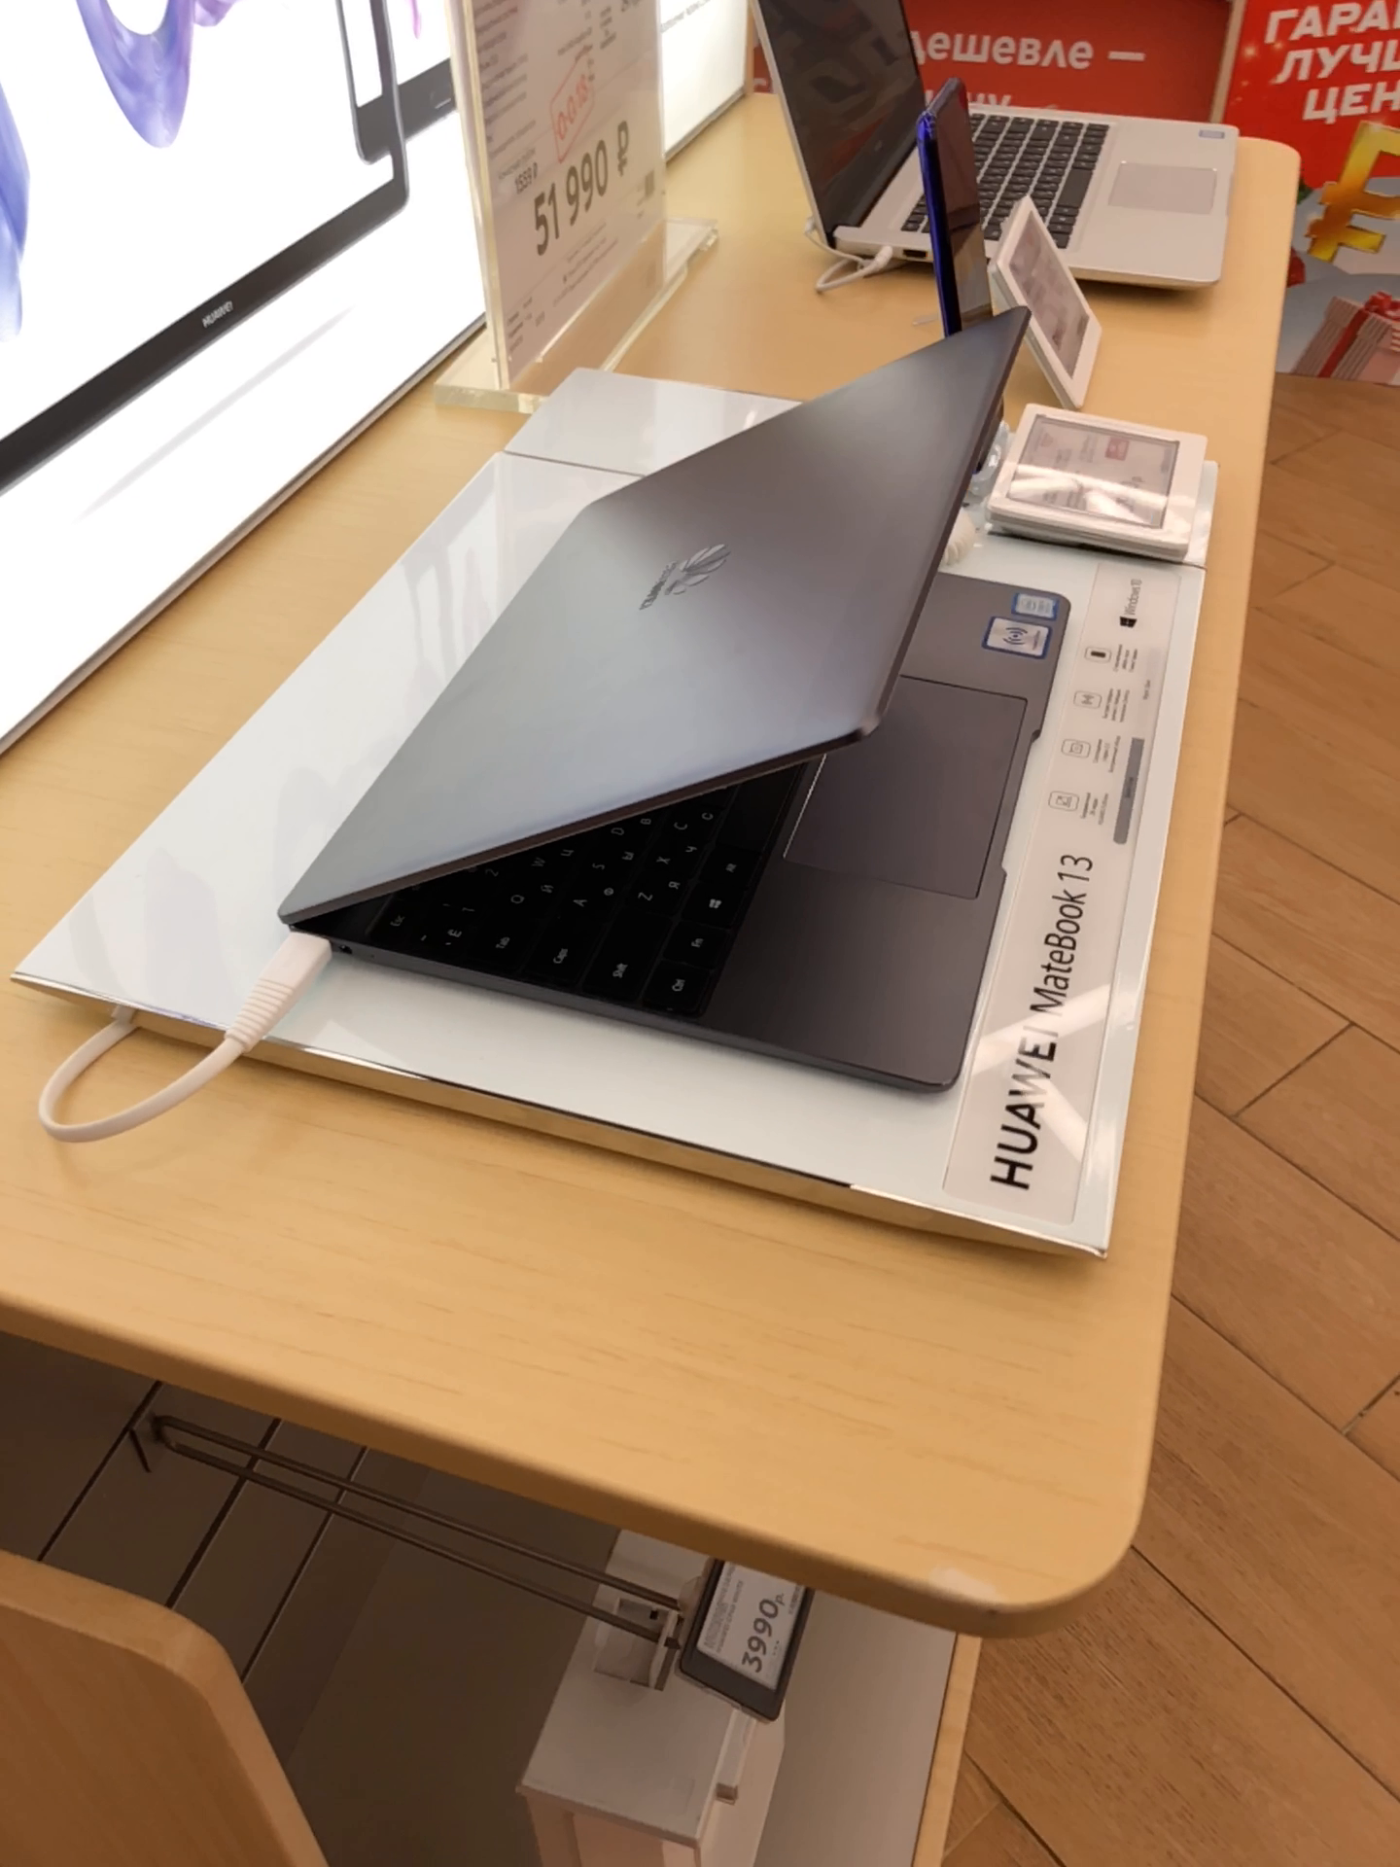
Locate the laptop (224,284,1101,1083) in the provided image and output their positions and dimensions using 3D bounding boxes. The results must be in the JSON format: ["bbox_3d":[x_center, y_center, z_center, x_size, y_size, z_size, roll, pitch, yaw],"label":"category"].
[{"bbox_3d":[0.011,-0.106,0.510,0.203,0.106,0.273,12,42,11],"label":"laptop"}]
